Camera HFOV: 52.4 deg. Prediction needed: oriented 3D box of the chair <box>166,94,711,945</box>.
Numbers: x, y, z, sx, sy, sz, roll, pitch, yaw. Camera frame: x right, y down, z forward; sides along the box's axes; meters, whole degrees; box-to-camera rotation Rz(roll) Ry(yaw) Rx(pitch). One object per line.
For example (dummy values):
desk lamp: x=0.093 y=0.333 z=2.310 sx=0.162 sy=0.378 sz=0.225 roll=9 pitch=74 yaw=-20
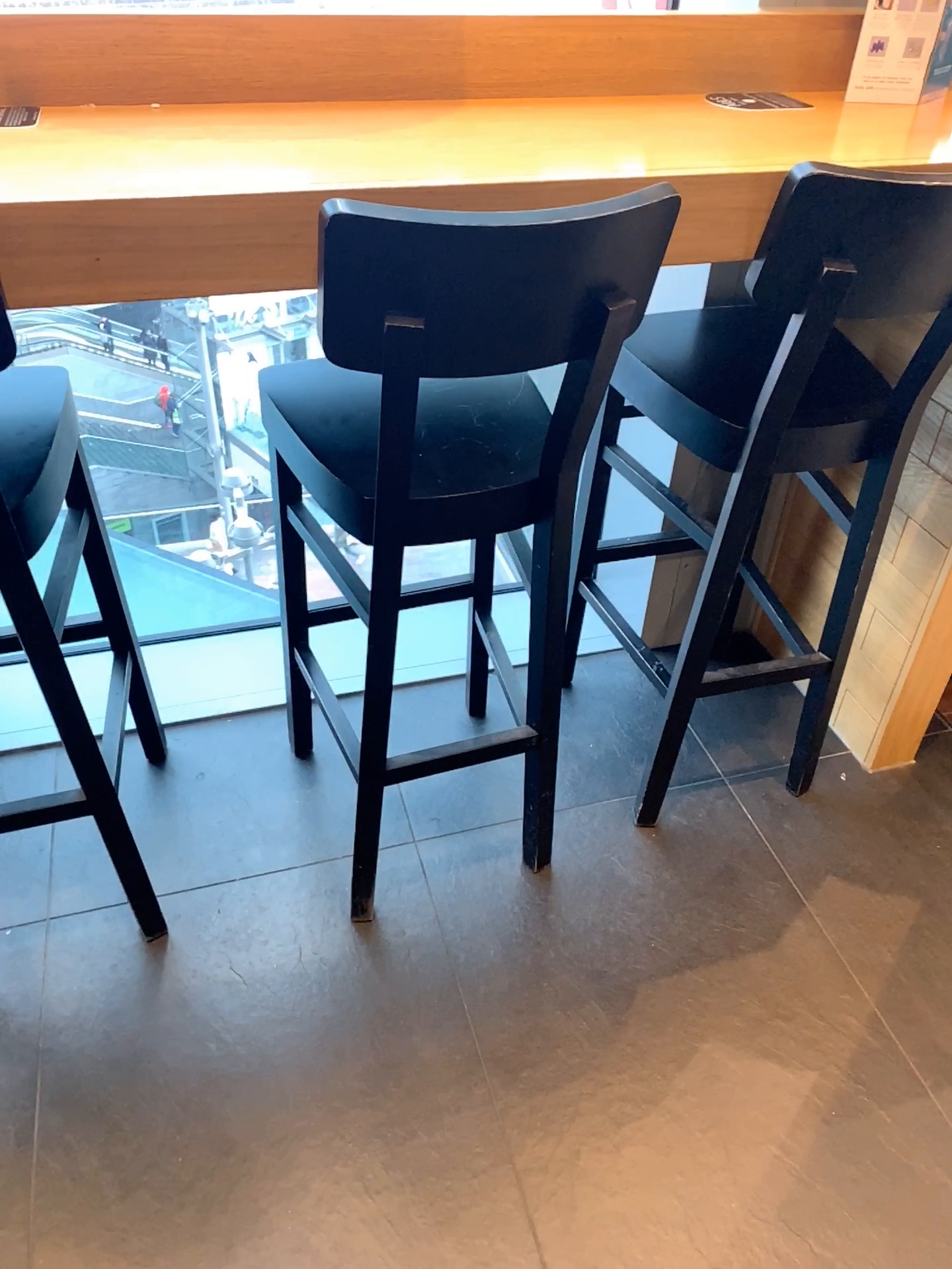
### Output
chair: x=-0.083 y=-0.128 z=1.327 sx=0.453 sy=1.001 sz=0.464 roll=-12 pitch=40 yaw=-17

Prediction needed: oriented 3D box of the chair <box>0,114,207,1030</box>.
chair: x=-0.624 y=-0.038 z=1.204 sx=0.393 sy=1.001 sz=0.464 roll=-9 pitch=39 yaw=-14

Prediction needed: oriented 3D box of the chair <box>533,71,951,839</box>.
chair: x=0.398 y=-0.244 z=1.474 sx=0.423 sy=1.001 sz=0.464 roll=-10 pitch=39 yaw=-16
